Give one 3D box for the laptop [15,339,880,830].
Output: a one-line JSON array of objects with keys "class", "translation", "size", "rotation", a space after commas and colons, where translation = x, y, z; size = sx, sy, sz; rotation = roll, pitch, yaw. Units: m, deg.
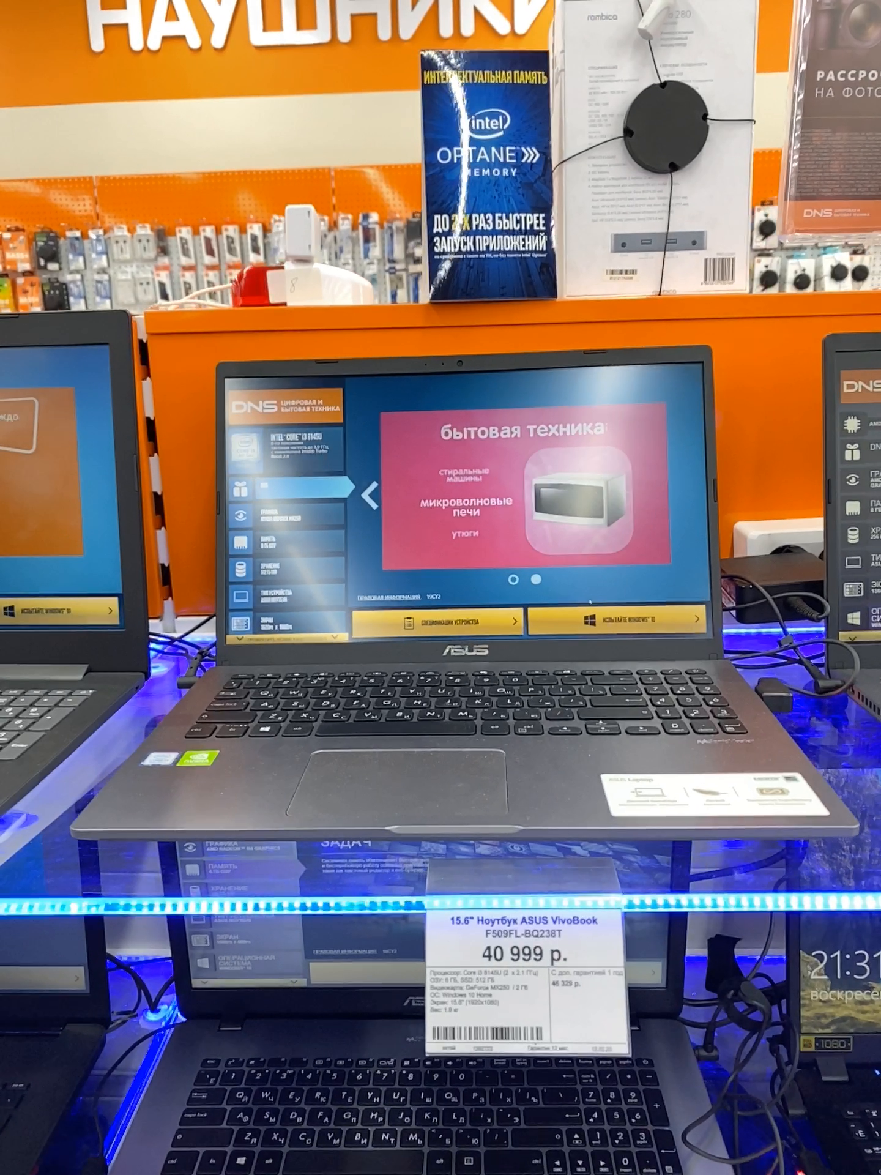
[{"class": "laptop", "translation": [0.012, -0.031, 0.535], "size": [0.357, 0.211, 0.307], "rotation": [-1, 14, 3]}]
